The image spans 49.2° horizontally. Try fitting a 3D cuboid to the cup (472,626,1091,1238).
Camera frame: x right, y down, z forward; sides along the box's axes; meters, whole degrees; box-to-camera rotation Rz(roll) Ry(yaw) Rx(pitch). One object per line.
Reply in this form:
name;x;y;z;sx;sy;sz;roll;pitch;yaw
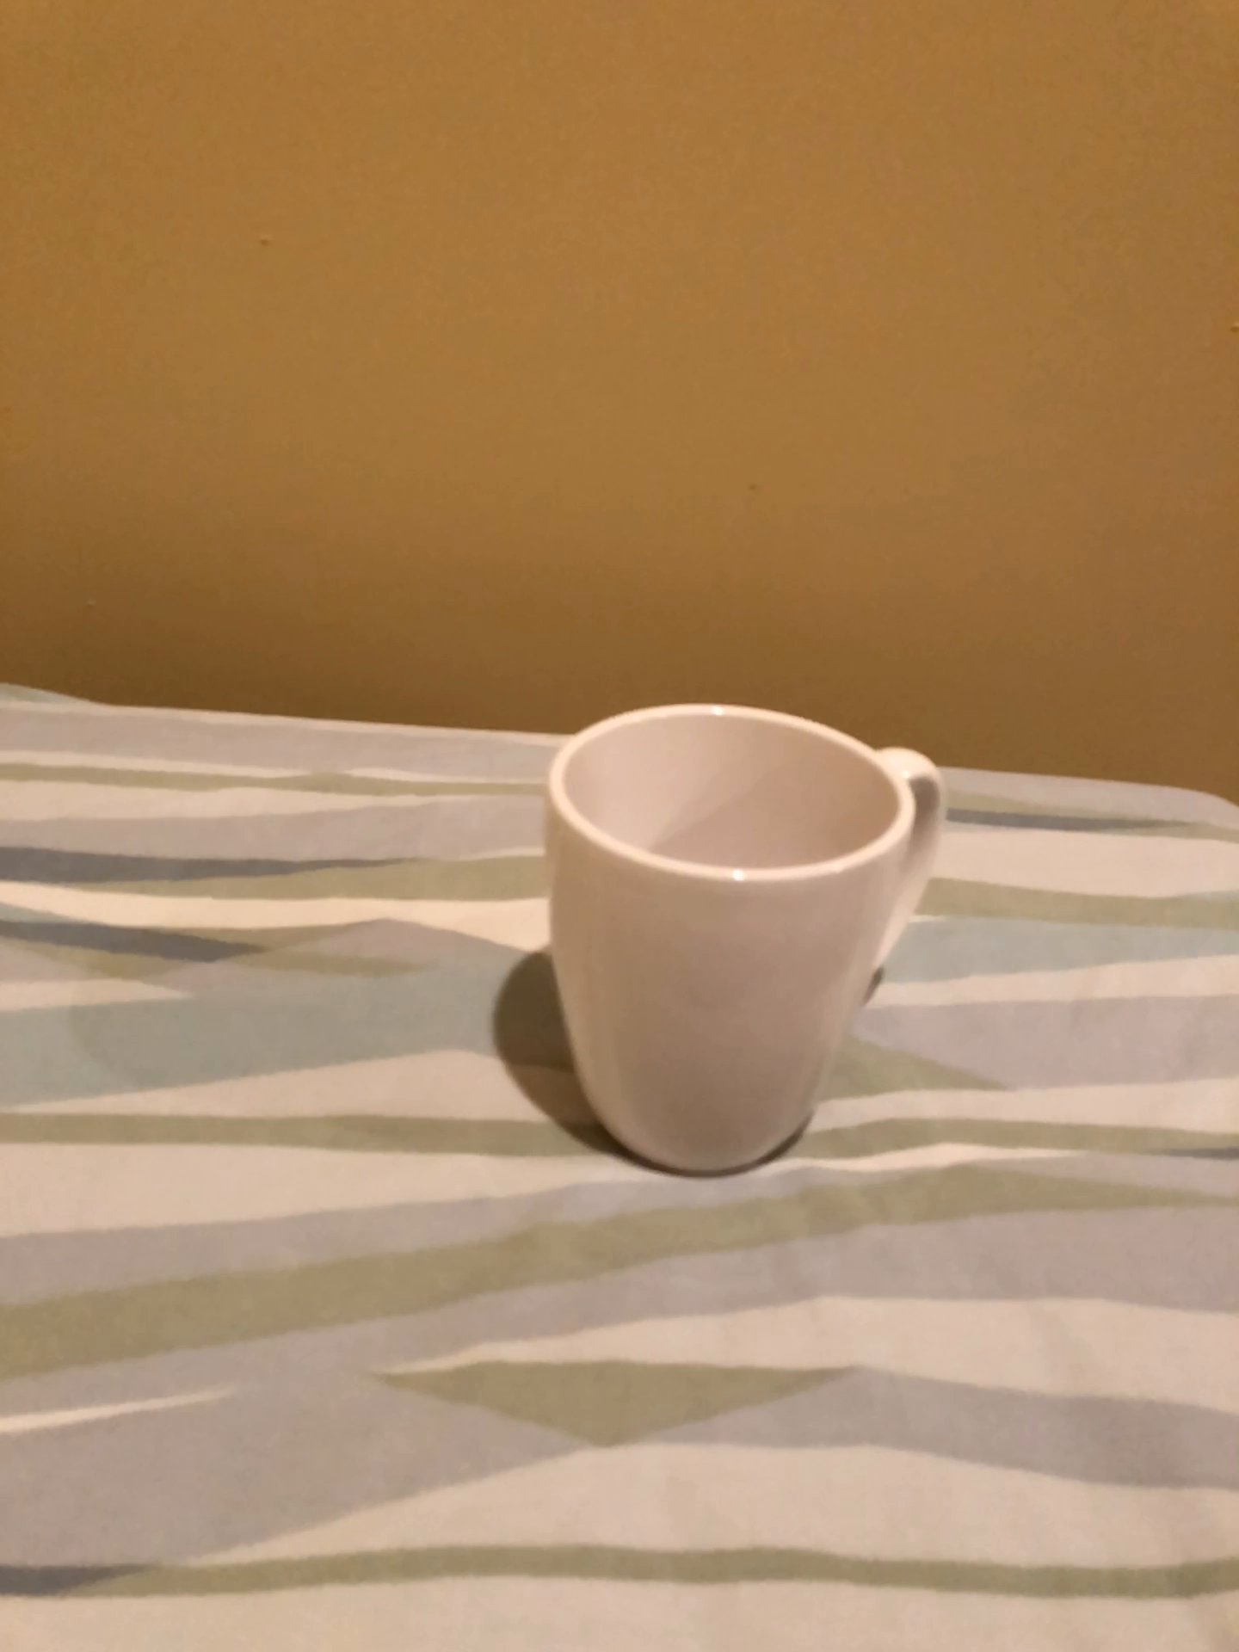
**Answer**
cup;0.037;0.018;0.347;0.120;0.090;0.090;-20;38;-34
